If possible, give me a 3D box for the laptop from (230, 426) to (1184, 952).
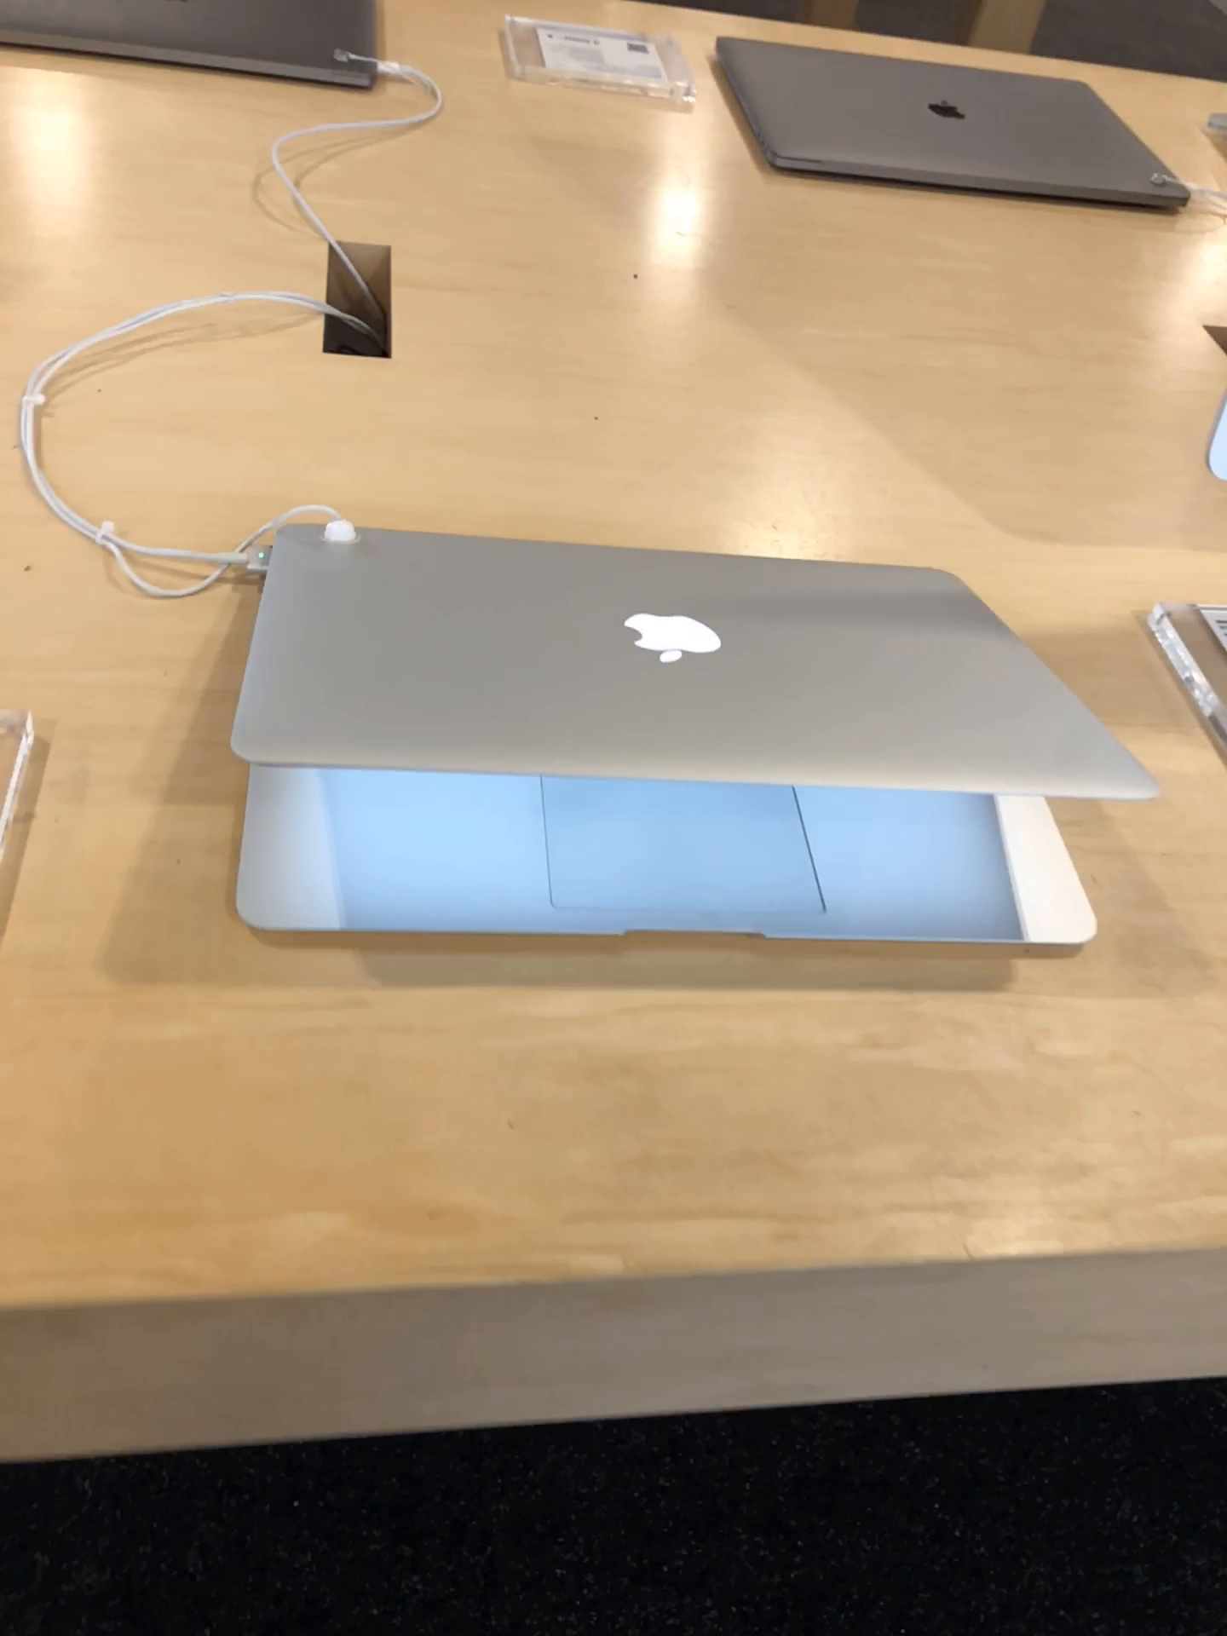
[{"bbox_3d":[0.023,-0.055,0.533,0.315,0.067,0.216,2,46,-10],"label":"laptop"}]
